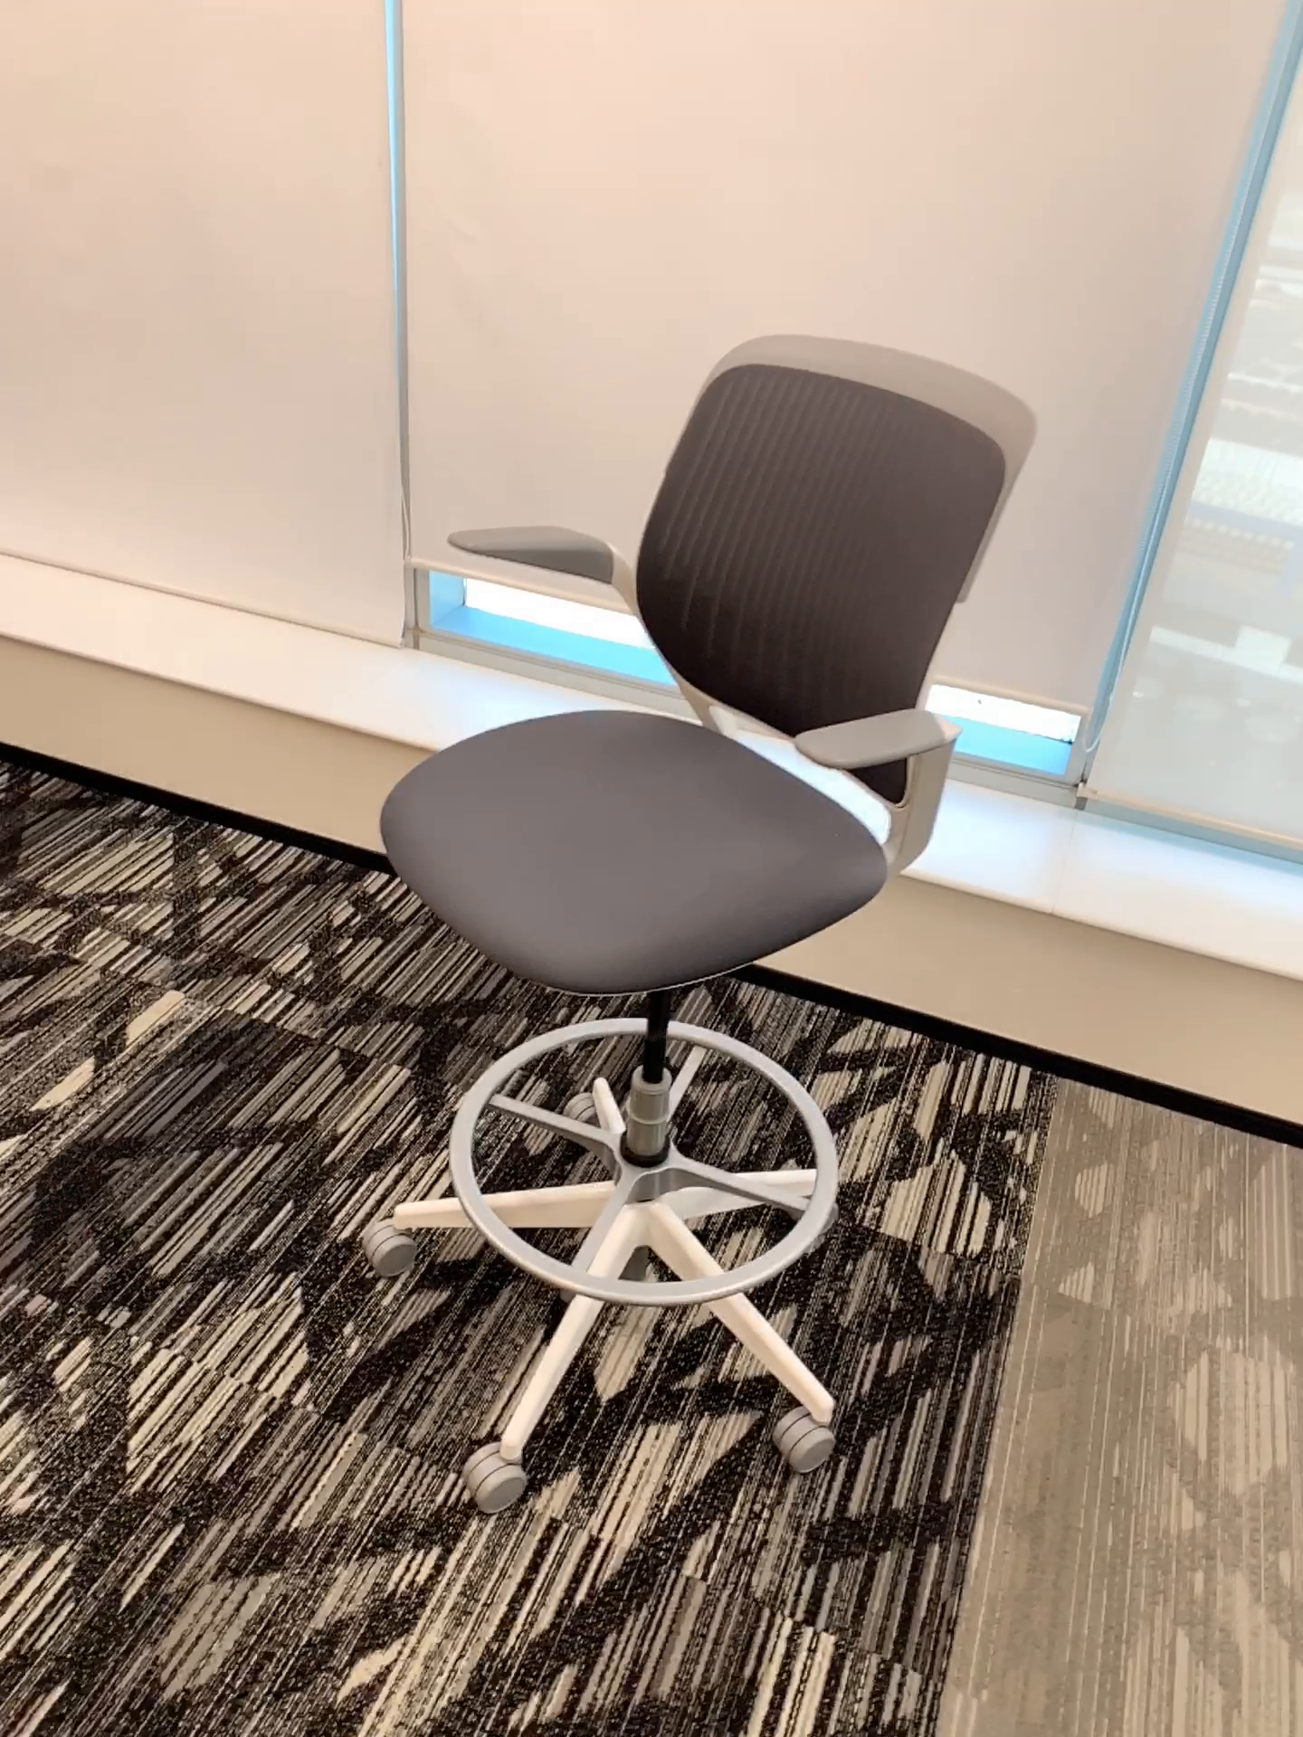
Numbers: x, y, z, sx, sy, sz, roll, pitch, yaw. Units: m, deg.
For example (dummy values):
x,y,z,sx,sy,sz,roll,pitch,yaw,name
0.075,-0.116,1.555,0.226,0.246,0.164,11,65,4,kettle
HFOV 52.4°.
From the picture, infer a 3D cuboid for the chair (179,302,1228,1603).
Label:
x,y,z,sx,sy,sz,roll,pitch,yaw,name
-0.025,0.041,1.504,0.692,1.140,0.694,-15,37,-29,chair
